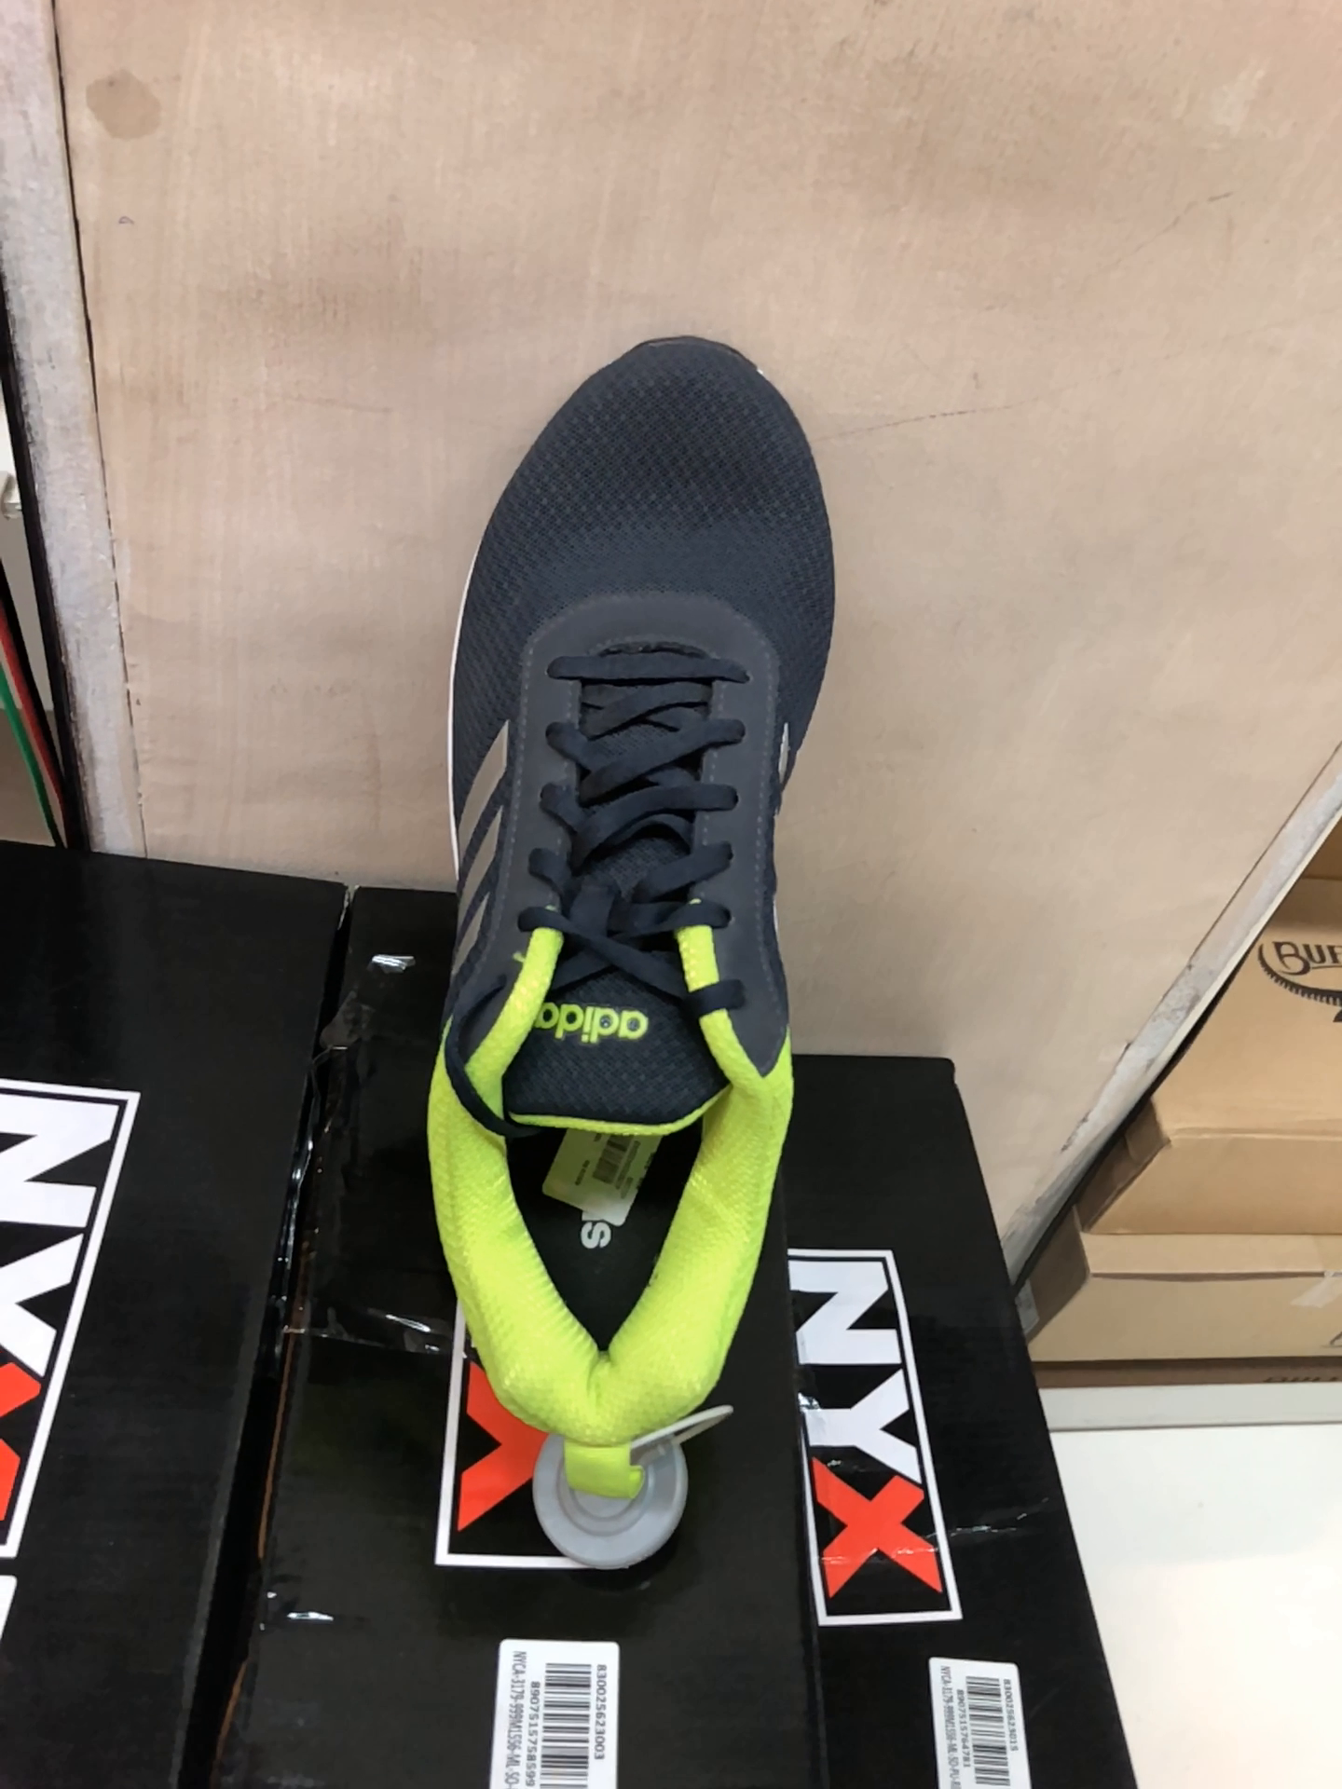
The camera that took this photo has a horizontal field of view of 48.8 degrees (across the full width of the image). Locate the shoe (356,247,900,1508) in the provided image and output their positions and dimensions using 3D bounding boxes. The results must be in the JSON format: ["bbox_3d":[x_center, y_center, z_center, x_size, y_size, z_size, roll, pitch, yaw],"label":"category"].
[{"bbox_3d":[-0.009,-0.004,0.372,0.104,0.098,0.272,3,82,-4],"label":"shoe"}]
